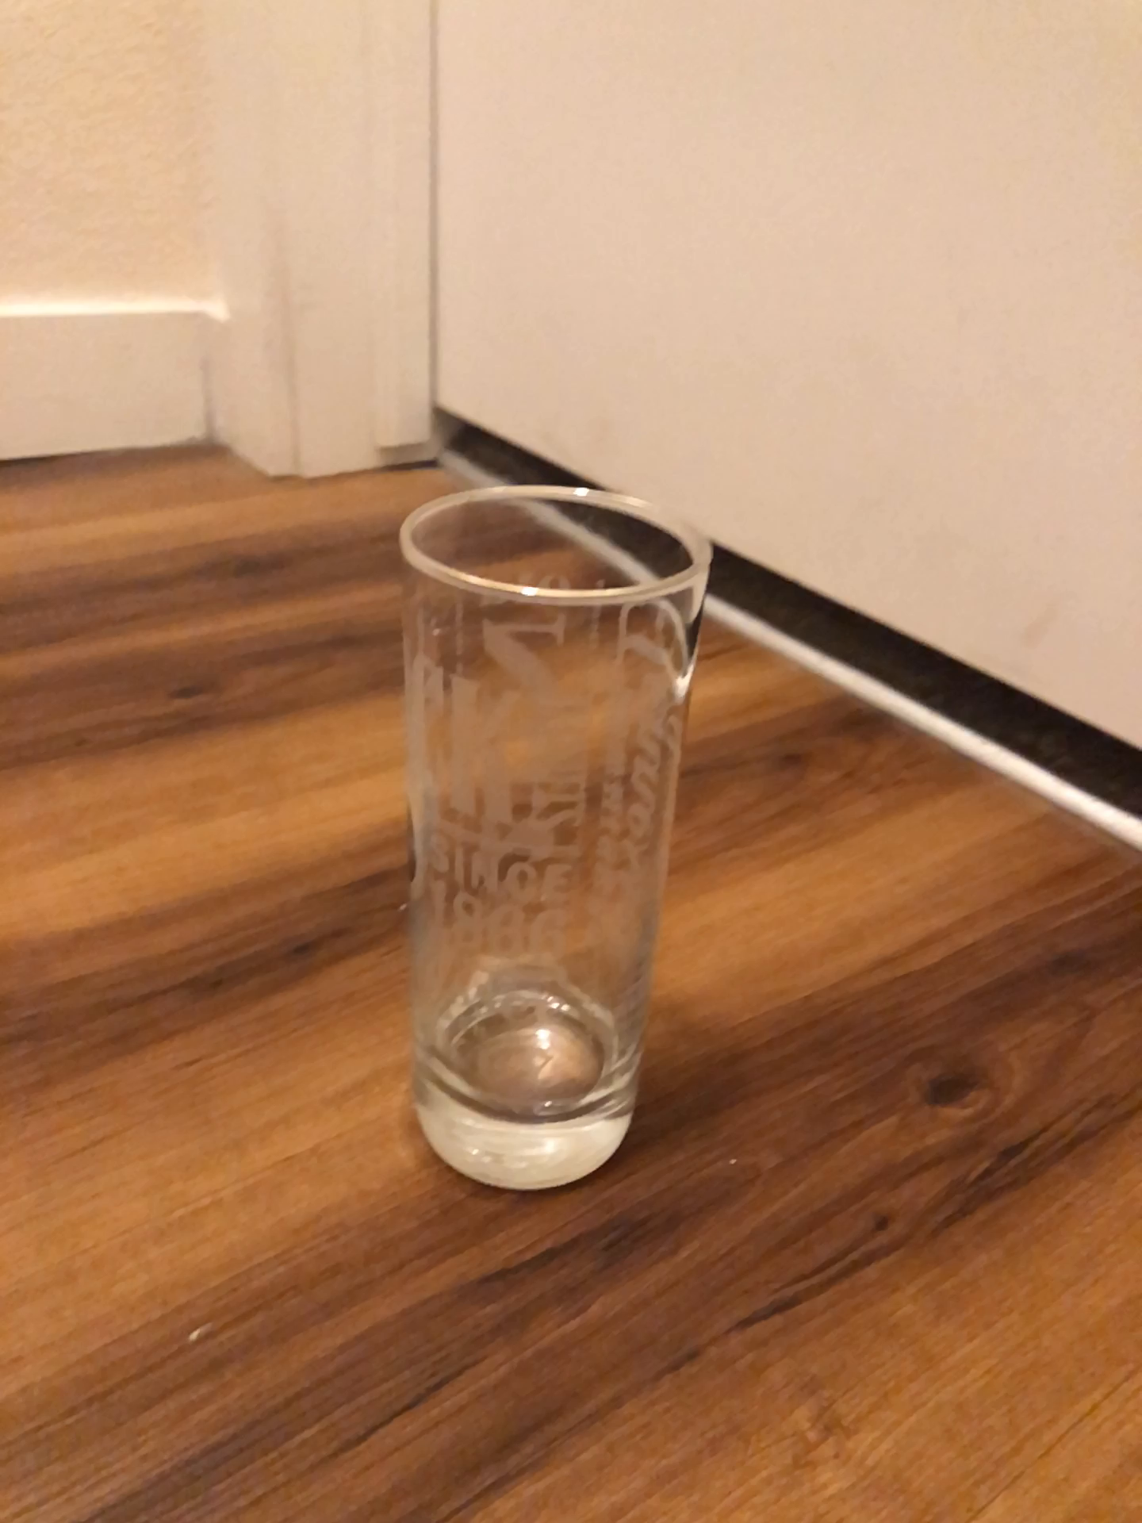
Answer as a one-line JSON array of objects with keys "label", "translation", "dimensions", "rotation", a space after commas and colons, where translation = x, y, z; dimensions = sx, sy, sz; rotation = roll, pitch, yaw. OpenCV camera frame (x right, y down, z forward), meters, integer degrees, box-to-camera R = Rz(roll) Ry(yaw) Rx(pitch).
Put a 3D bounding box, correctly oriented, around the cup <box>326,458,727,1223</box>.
[{"label": "cup", "translation": [-0.009, 0.019, 0.284], "dimensions": [0.068, 0.150, 0.067], "rotation": [3, 29, -2]}]
